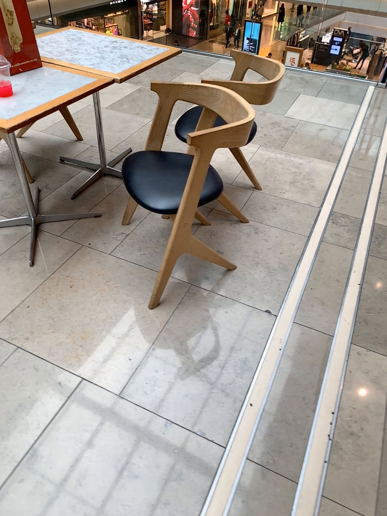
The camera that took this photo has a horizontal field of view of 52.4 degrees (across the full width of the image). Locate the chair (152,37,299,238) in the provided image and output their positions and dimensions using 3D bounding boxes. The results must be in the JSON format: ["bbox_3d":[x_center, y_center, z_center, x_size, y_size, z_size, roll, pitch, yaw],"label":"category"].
[{"bbox_3d":[0.161,-0.631,2.018,0.530,0.717,0.639,14,43,11],"label":"chair"}]

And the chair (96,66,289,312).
[{"bbox_3d":[-0.057,-0.305,1.631,0.500,0.707,0.649,-12,44,-16],"label":"chair"}]
